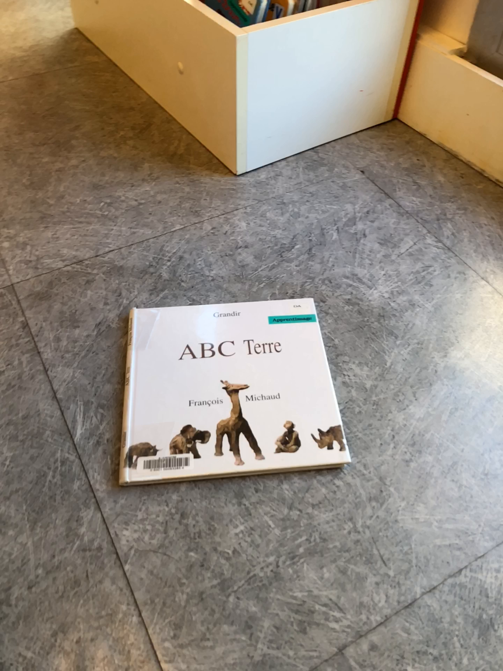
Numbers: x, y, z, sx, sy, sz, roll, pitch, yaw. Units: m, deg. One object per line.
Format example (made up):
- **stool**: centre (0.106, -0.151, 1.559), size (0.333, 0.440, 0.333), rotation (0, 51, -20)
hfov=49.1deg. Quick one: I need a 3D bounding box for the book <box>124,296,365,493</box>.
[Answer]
- **book**: centre (-0.014, 0.045, 0.525), size (0.200, 0.020, 0.194), rotation (-4, 50, -5)
